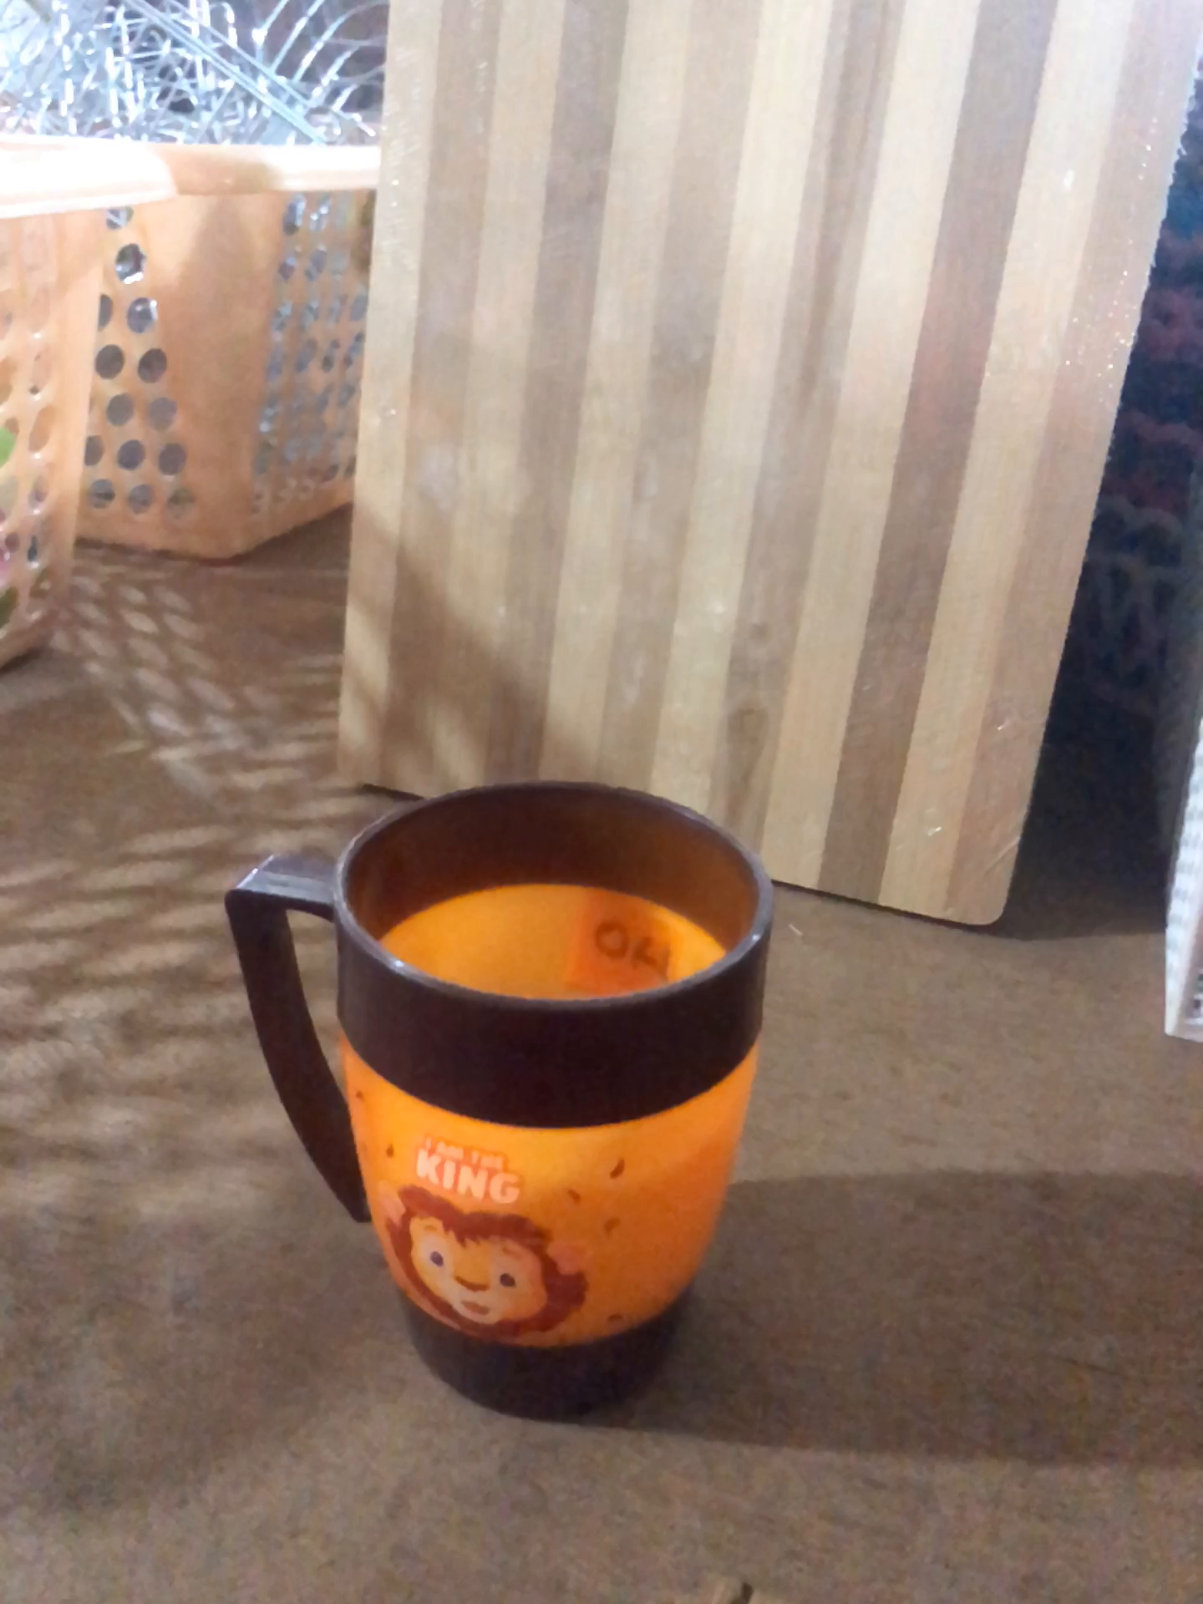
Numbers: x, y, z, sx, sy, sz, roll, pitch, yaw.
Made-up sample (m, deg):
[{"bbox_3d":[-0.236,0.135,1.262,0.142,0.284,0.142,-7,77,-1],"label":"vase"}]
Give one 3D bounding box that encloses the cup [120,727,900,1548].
[{"bbox_3d":[-0.012,0.049,0.221,0.100,0.090,0.060,12,30,19],"label":"cup"}]
